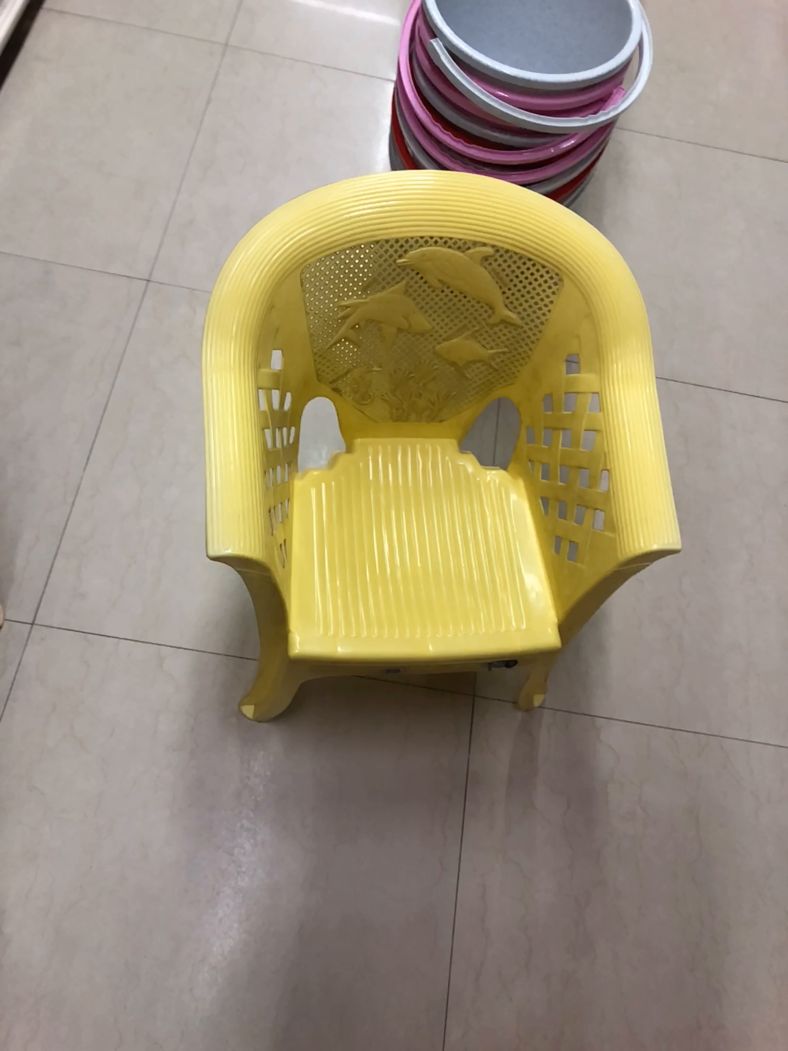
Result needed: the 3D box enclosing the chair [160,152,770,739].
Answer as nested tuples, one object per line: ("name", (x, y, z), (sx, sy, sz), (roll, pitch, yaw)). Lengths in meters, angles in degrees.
("chair", (0.026, -0.057, 0.932), (0.470, 0.399, 0.471), (0, 65, -8))
